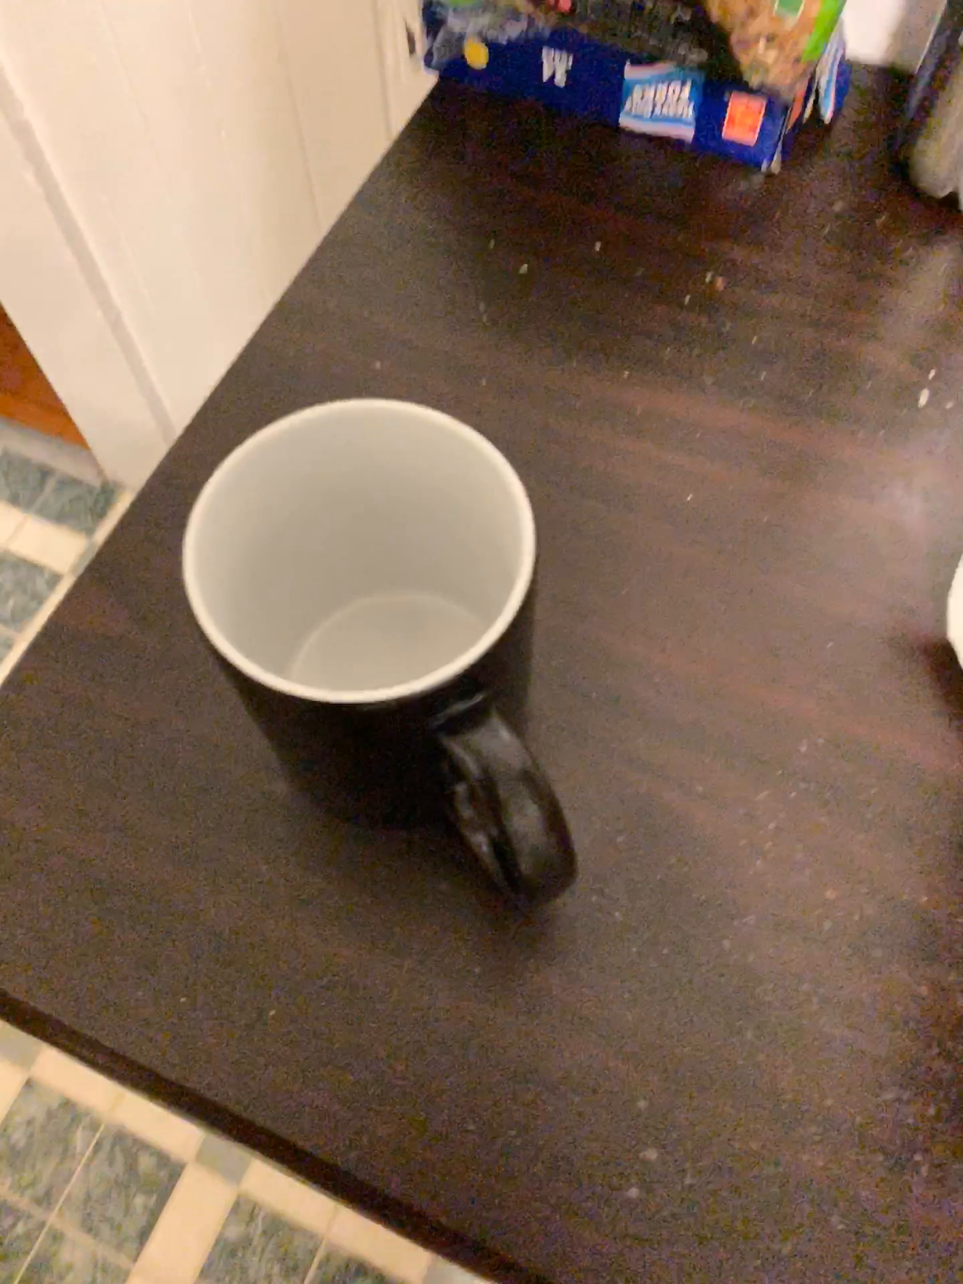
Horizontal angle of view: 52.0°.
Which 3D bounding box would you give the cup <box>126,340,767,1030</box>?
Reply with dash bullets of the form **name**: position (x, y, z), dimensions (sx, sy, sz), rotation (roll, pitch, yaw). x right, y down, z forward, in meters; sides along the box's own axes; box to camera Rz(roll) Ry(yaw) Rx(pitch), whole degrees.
- **cup**: position (-0.011, 0.015, 0.257), dimensions (0.080, 0.100, 0.130), rotation (-31, 68, -13)
